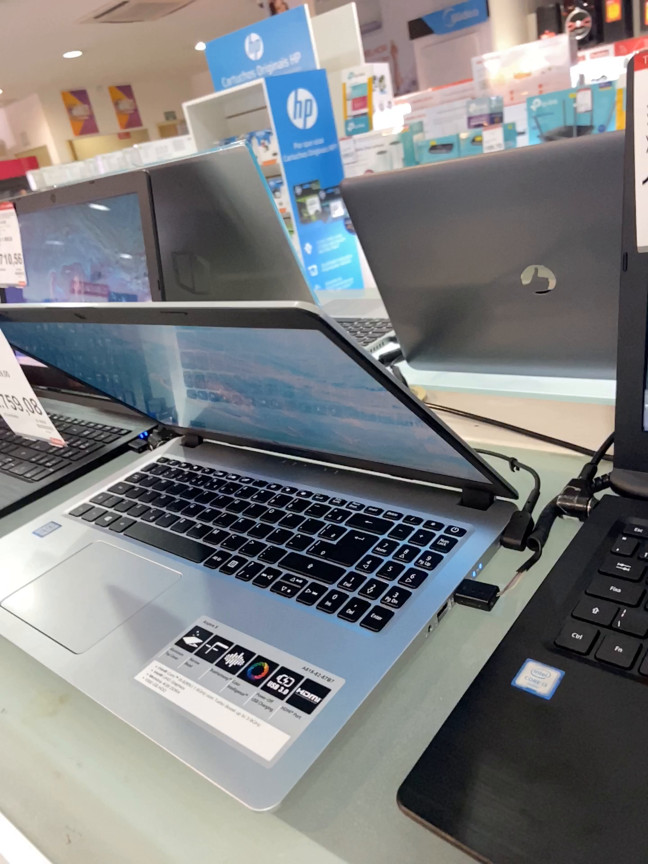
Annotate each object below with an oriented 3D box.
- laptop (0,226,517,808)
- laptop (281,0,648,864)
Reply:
[{"bbox_3d":[-0.102,0.001,0.428,0.353,0.175,0.237,8,31,40],"label":"laptop"},{"bbox_3d":[0.230,-0.010,0.186,0.354,0.239,0.289,7,30,42],"label":"laptop"}]
